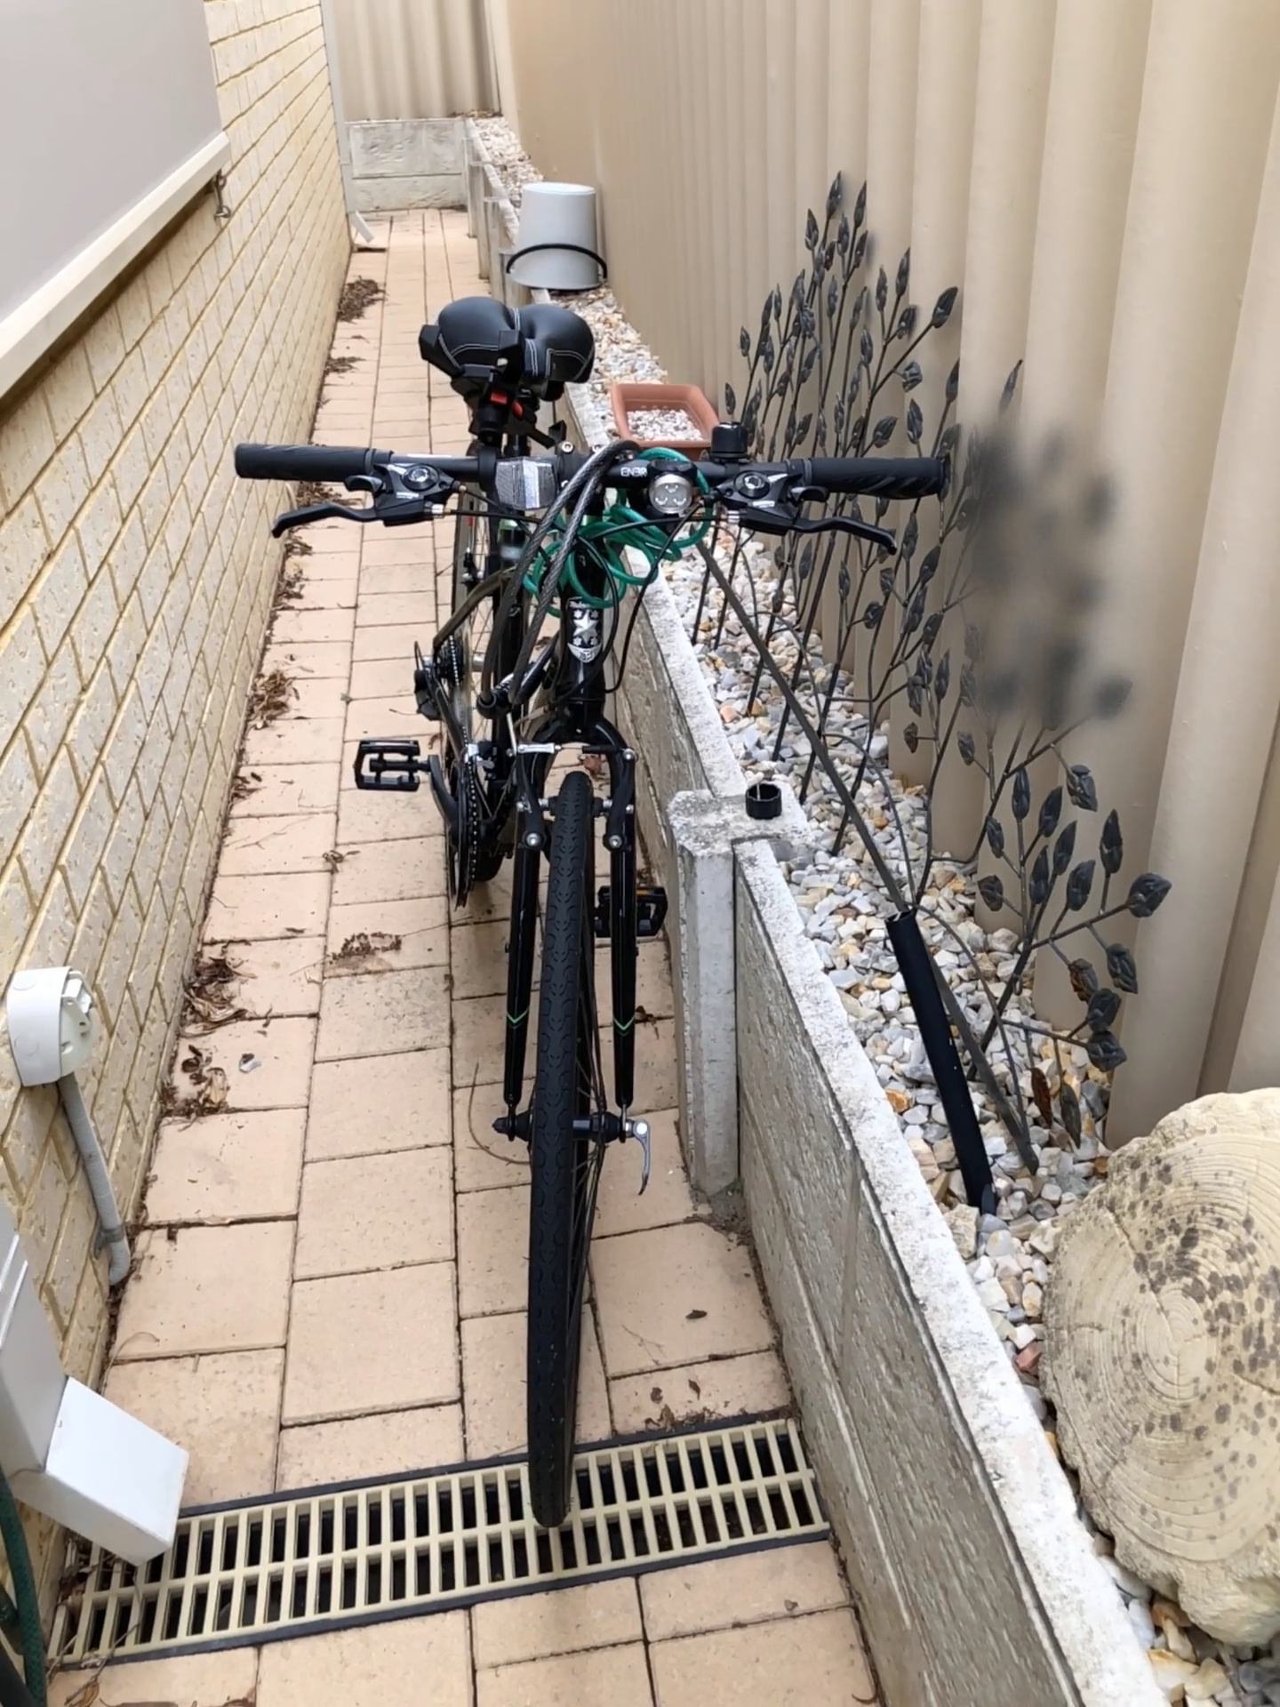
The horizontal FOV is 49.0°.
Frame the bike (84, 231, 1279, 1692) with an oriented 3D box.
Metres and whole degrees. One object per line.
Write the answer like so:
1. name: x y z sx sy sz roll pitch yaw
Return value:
1. bike: -0.078 -0.149 1.684 0.637 0.859 1.708 -5 32 -7
